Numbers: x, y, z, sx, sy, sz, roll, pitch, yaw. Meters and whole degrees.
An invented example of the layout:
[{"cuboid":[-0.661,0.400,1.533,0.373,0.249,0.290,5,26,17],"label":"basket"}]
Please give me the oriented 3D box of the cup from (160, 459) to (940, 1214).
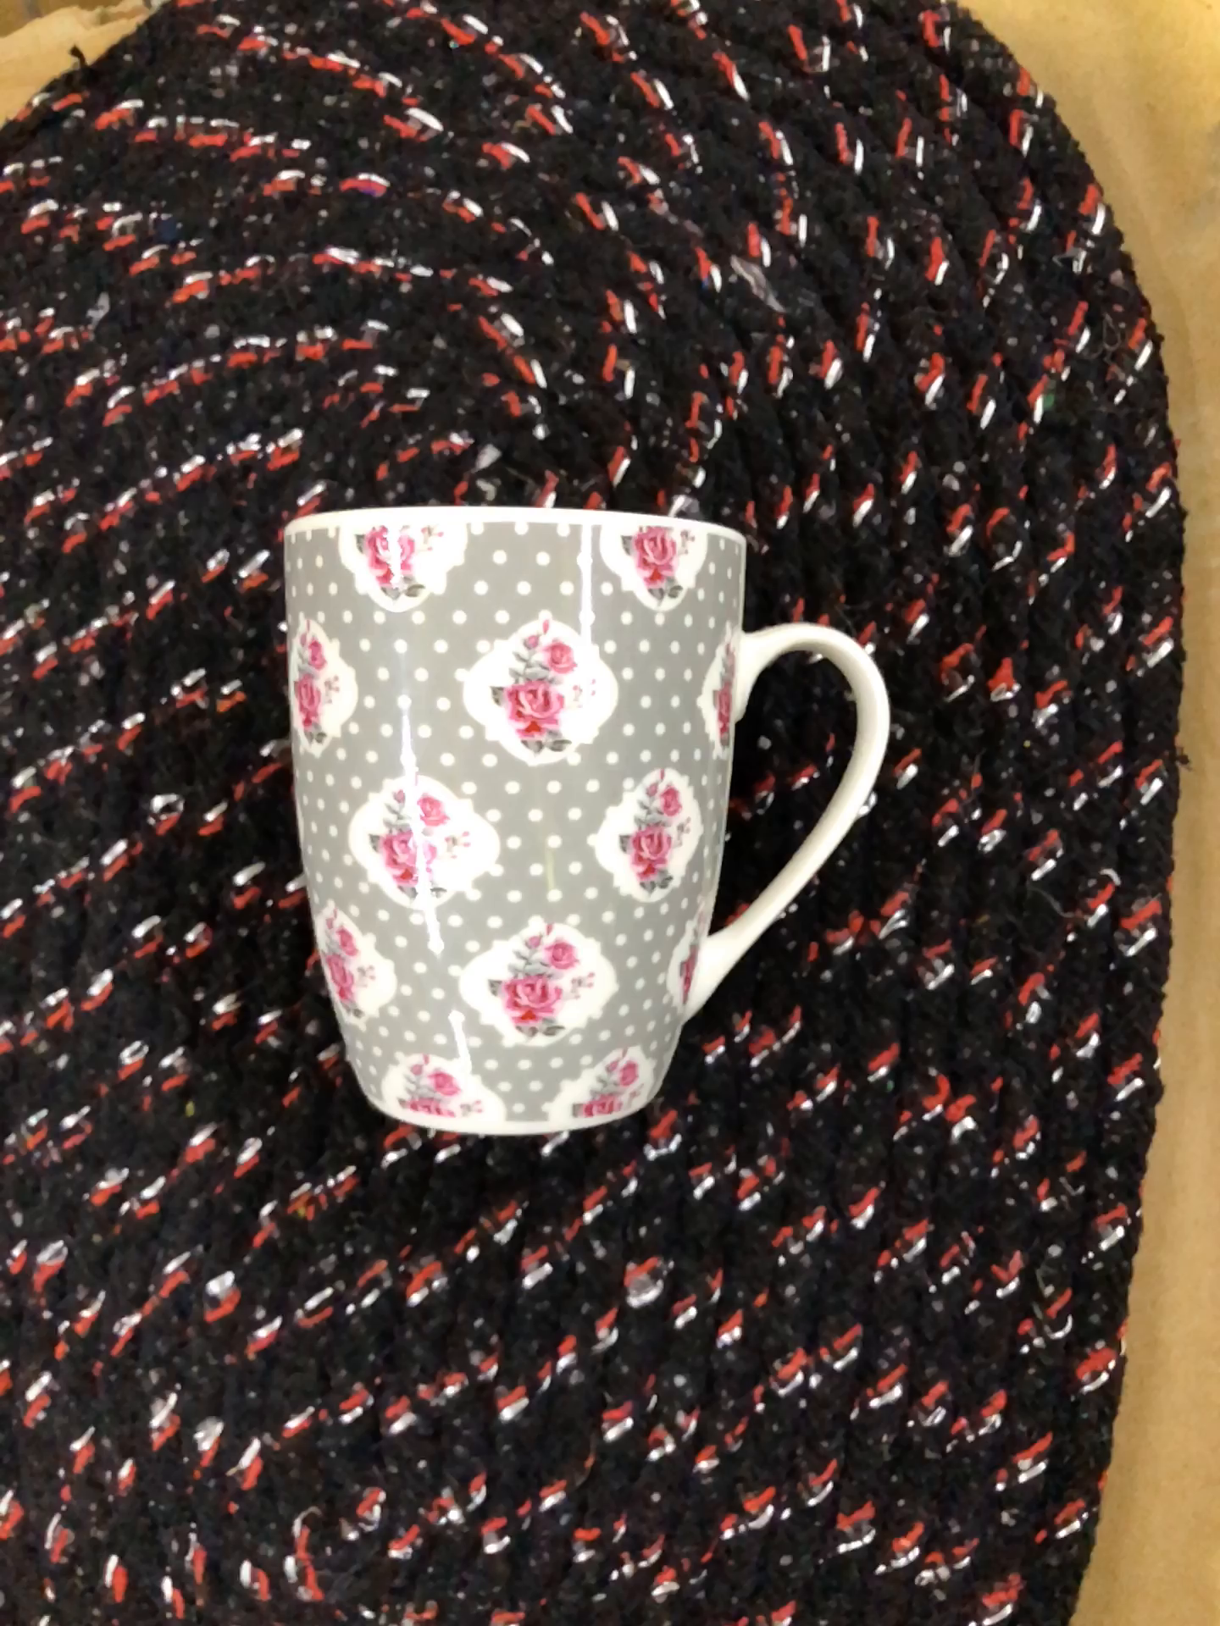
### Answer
[{"cuboid":[-0.015,-0.004,0.242,0.110,0.090,0.100,-6,97,-16],"label":"cup"}]
